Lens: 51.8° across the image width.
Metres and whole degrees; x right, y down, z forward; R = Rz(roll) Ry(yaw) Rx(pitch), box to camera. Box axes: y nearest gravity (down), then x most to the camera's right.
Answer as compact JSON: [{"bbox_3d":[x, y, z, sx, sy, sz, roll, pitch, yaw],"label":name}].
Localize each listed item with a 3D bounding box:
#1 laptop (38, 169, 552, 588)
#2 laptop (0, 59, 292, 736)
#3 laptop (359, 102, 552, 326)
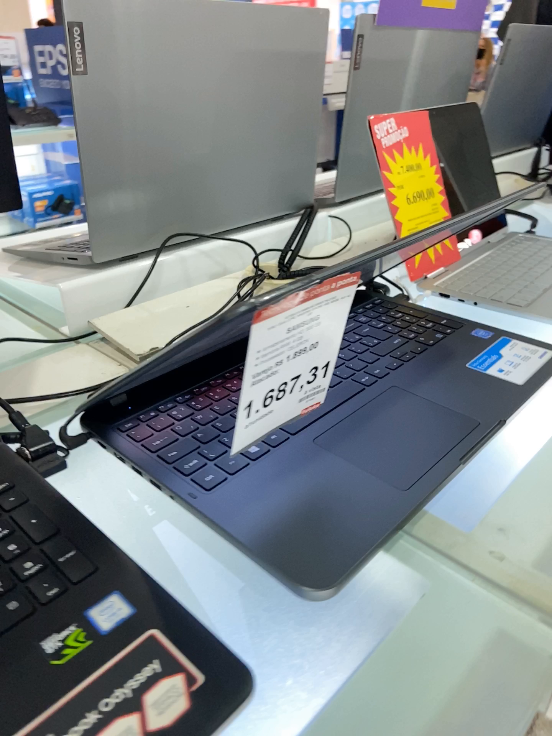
[{"bbox_3d":[0.057,-0.051,0.448,0.235,0.139,0.368,23,35,37],"label":"laptop"},{"bbox_3d":[-0.288,0.041,0.175,0.371,0.223,0.395,21,33,35],"label":"laptop"},{"bbox_3d":[0.315,-0.228,0.730,0.296,0.177,0.316,23,36,37],"label":"laptop"}]
